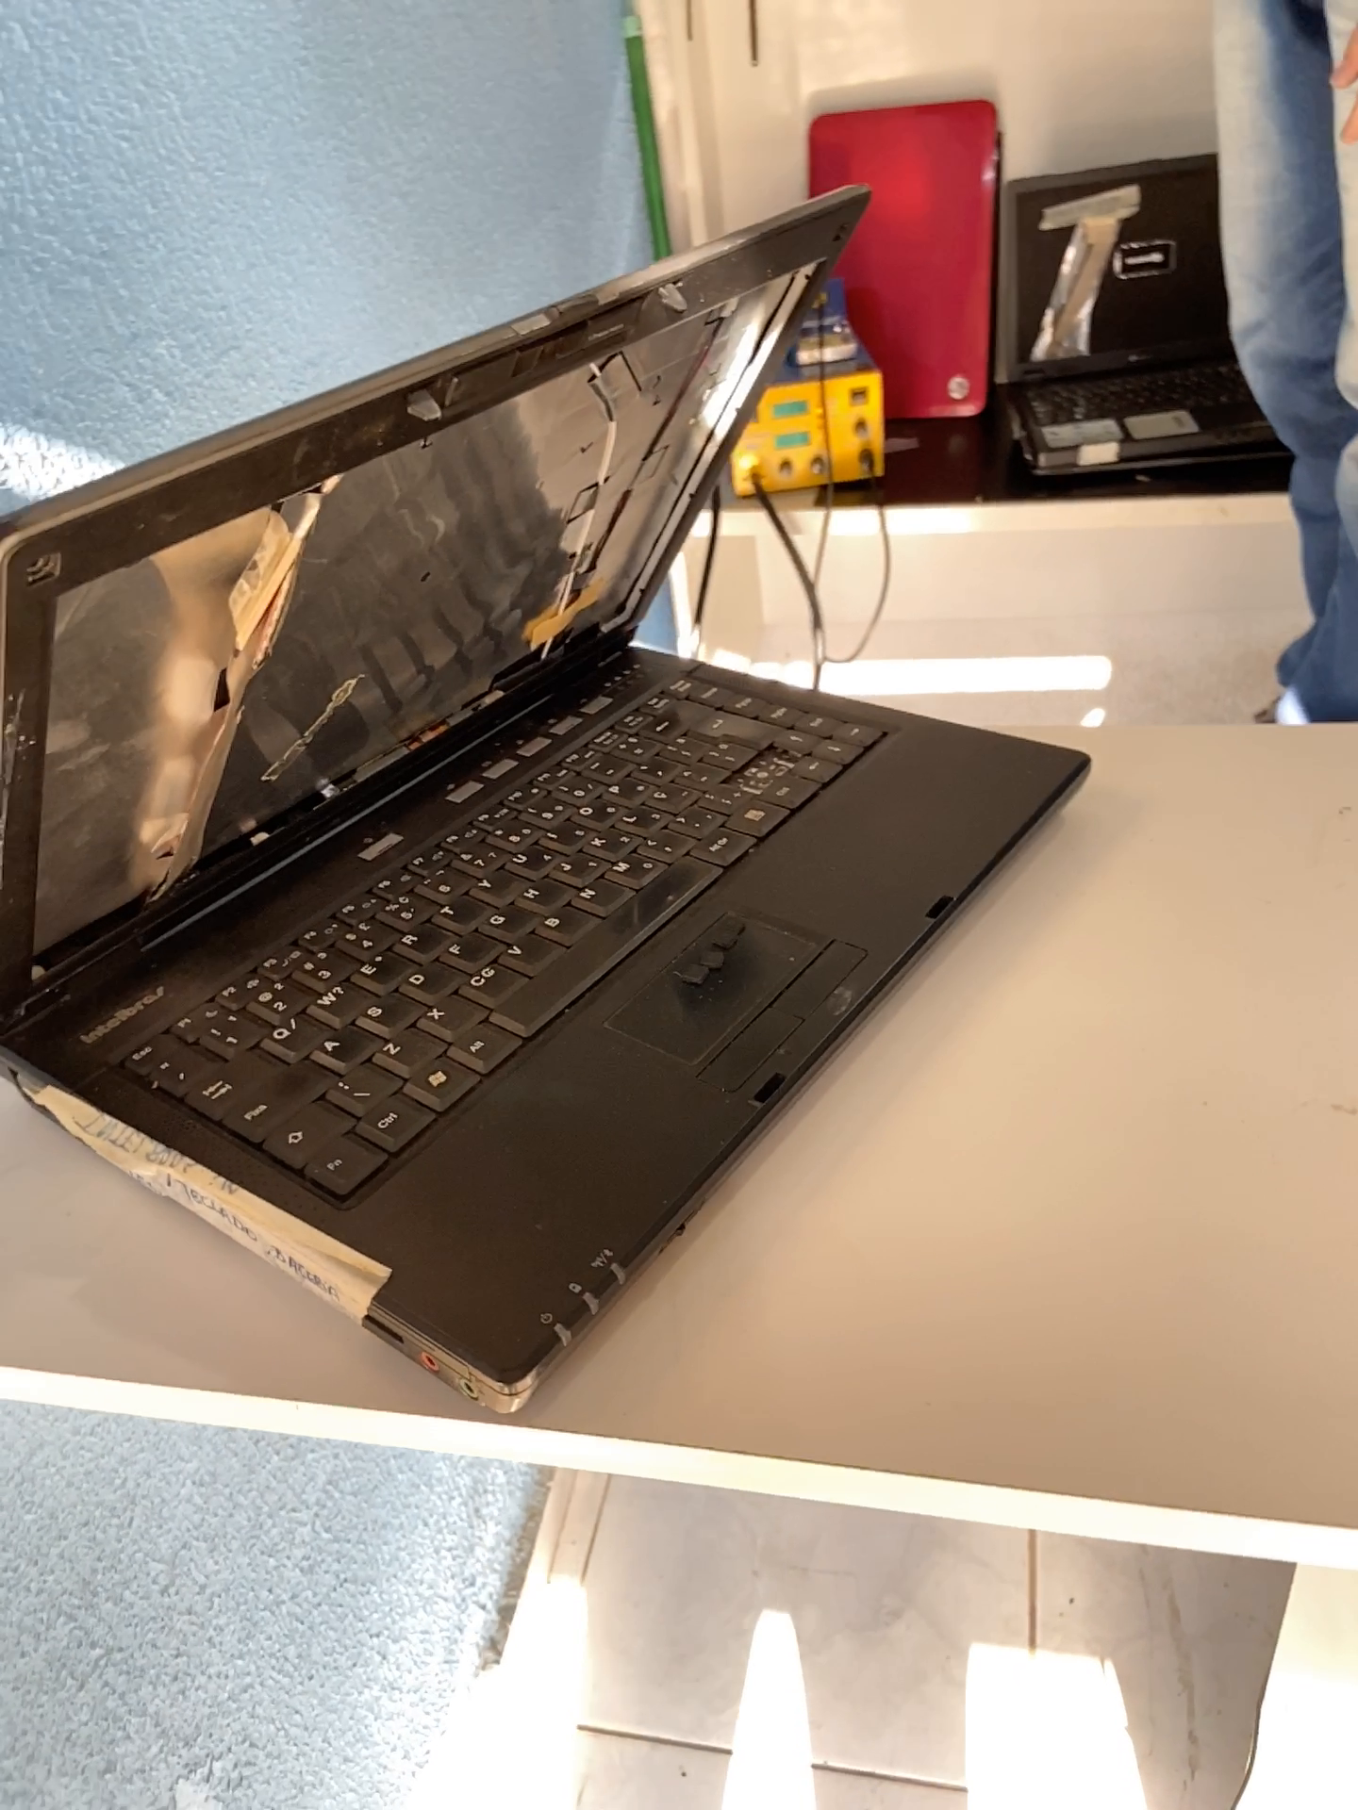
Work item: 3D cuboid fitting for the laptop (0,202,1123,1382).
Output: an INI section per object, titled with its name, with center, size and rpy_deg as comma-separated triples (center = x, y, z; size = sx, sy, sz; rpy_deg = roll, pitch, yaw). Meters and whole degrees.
[laptop]
center = -0.042, -0.082, 0.435
size = 0.231, 0.191, 0.323
rpy_deg = 19, 42, 33
